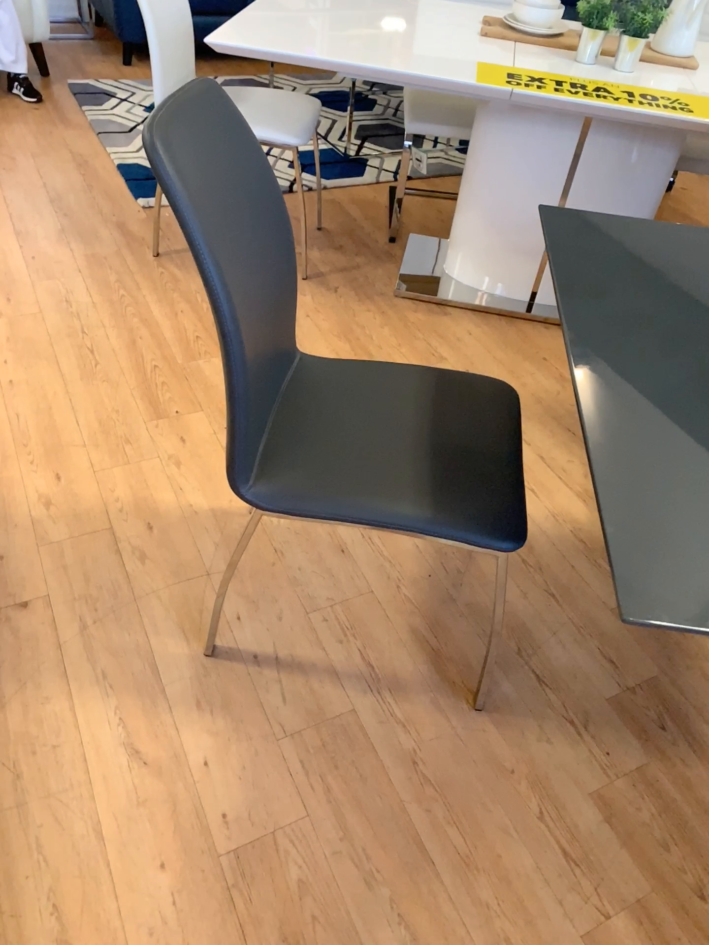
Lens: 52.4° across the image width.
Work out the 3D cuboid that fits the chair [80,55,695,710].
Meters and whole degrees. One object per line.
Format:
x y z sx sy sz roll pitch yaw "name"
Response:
0.017 -0.101 1.220 0.640 0.891 0.485 10 43 2 "chair"
